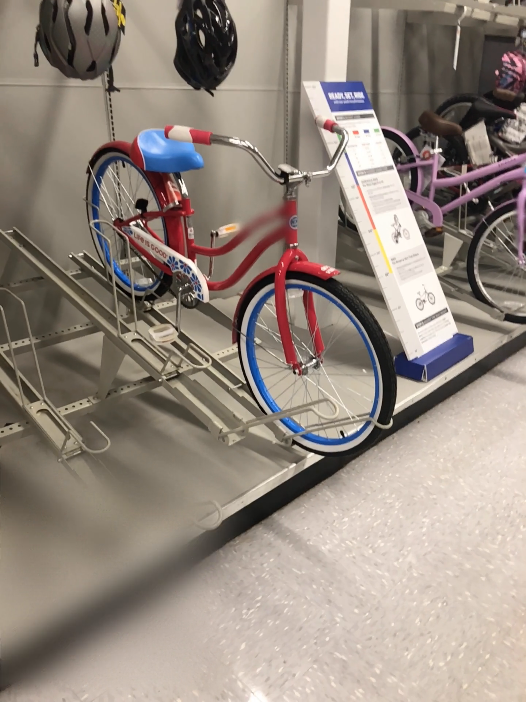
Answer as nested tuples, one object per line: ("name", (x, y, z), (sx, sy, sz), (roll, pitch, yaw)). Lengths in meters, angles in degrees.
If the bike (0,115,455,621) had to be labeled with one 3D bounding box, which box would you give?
("bike", (-0.223, -0.177, 2.049), (0.812, 0.676, 1.609), (-21, 46, -41))
